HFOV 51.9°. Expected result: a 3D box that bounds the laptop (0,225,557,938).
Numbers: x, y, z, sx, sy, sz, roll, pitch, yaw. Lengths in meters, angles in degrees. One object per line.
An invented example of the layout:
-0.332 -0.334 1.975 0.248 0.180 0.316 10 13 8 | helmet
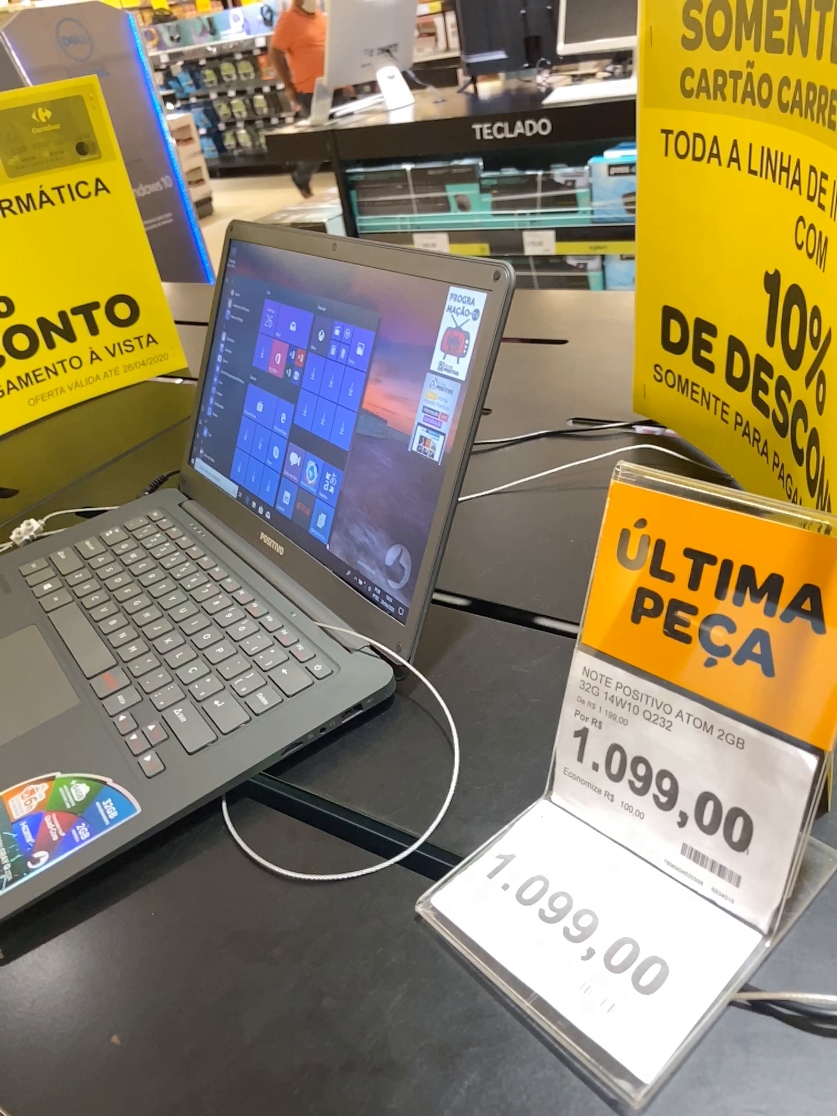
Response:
-0.144 -0.042 0.443 0.292 0.159 0.297 -28 35 -24 | laptop
